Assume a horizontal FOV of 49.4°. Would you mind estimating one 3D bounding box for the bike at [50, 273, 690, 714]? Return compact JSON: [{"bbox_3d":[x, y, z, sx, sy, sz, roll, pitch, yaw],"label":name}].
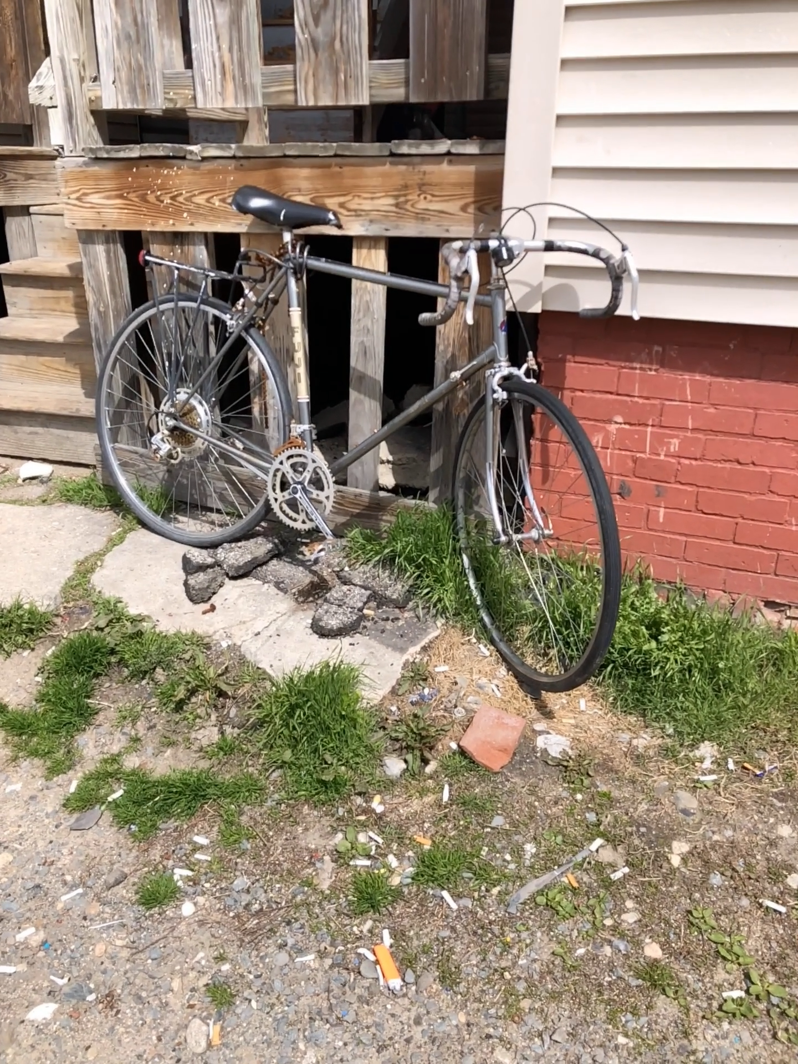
[{"bbox_3d":[-0.119,-0.177,1.640,1.202,0.479,0.400,17,26,33],"label":"bike"}]
